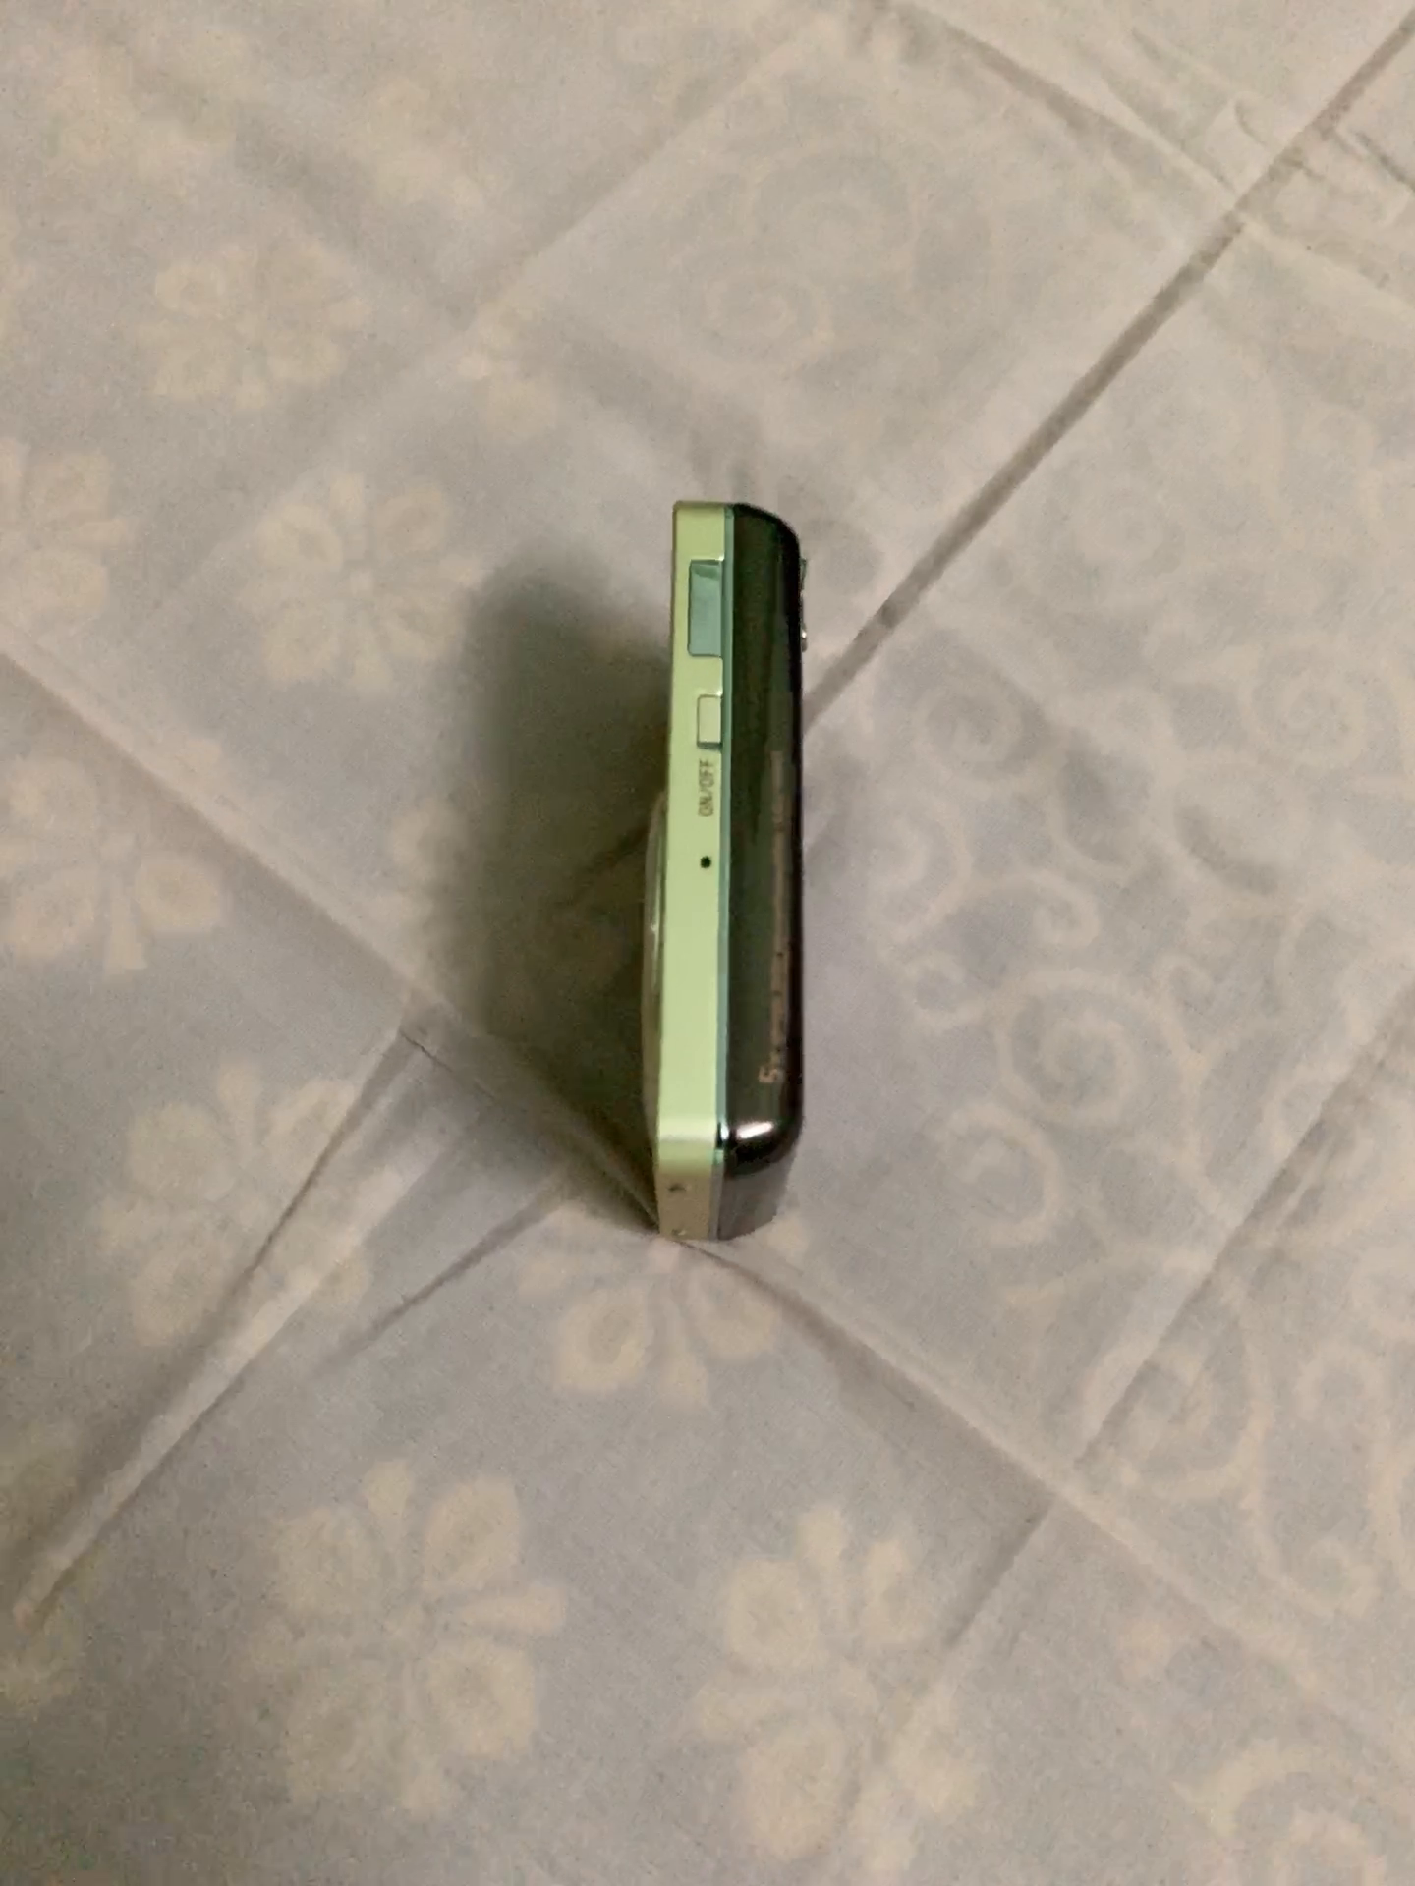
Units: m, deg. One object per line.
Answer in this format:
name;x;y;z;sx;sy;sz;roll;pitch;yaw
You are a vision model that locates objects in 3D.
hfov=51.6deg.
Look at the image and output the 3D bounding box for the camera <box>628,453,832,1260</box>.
camera;0.002;-0.008;0.193;0.021;0.060;0.088;2;68;-2
